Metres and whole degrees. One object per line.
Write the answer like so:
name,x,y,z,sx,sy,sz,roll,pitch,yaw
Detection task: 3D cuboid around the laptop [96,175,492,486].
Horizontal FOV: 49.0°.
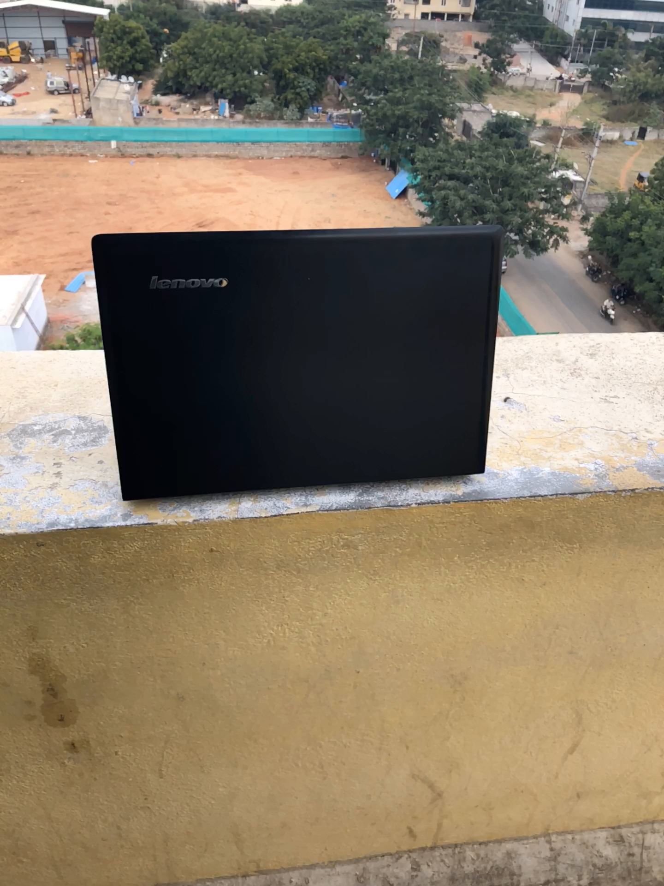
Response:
laptop,-0.049,-0.131,0.776,0.333,0.223,0.246,-4,37,-8
